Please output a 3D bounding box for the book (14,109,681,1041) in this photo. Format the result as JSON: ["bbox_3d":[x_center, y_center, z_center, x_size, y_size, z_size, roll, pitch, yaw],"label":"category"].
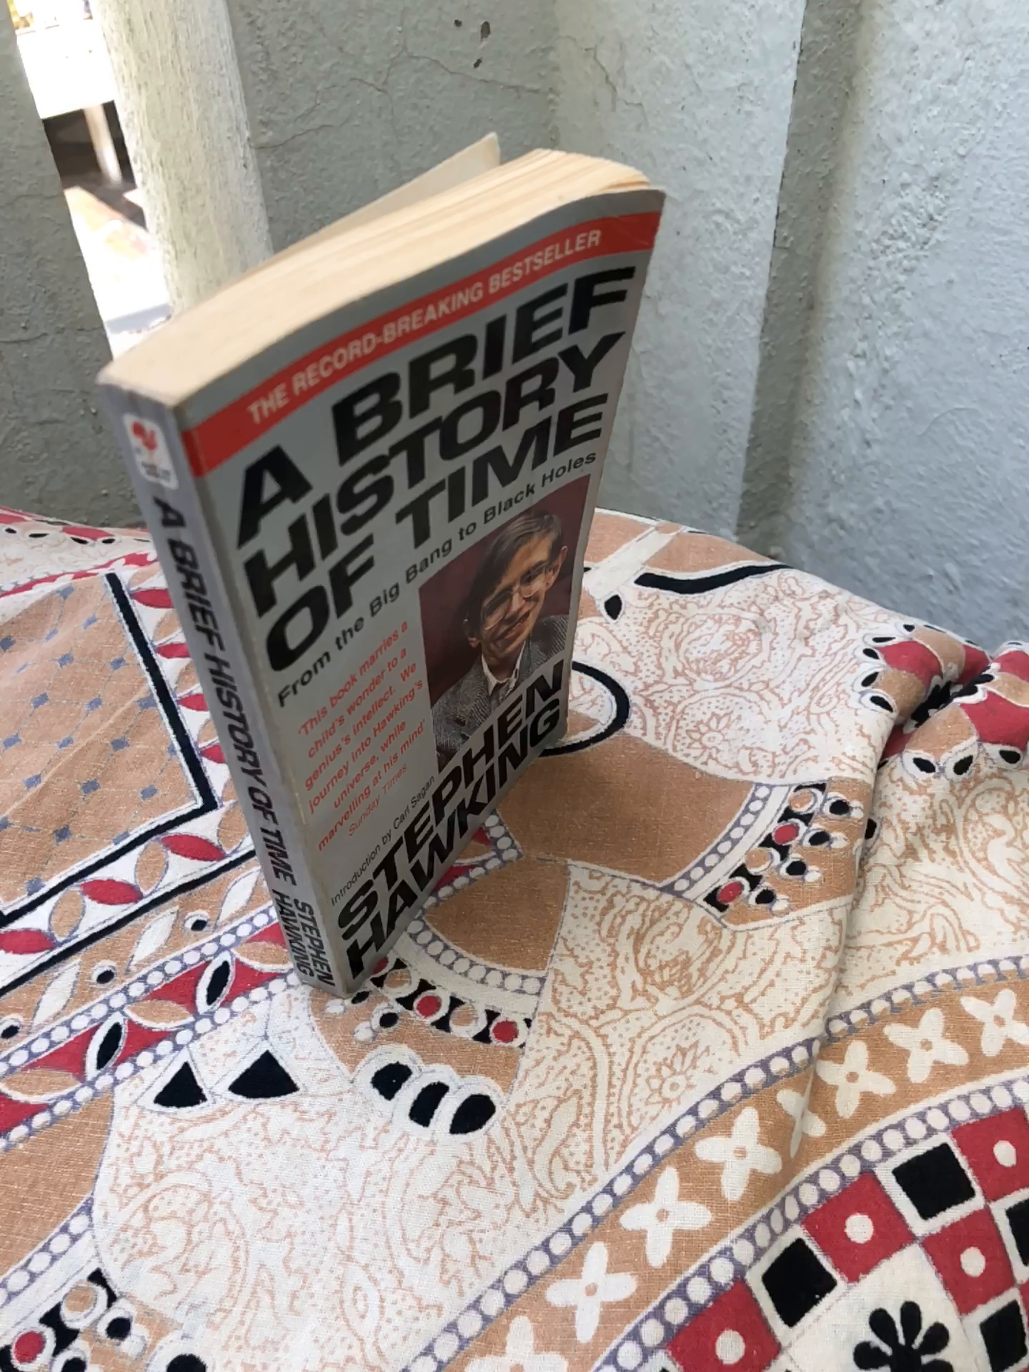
[{"bbox_3d":[-0.020,-0.017,0.256,0.030,0.169,0.130,30,54,26],"label":"book"}]
